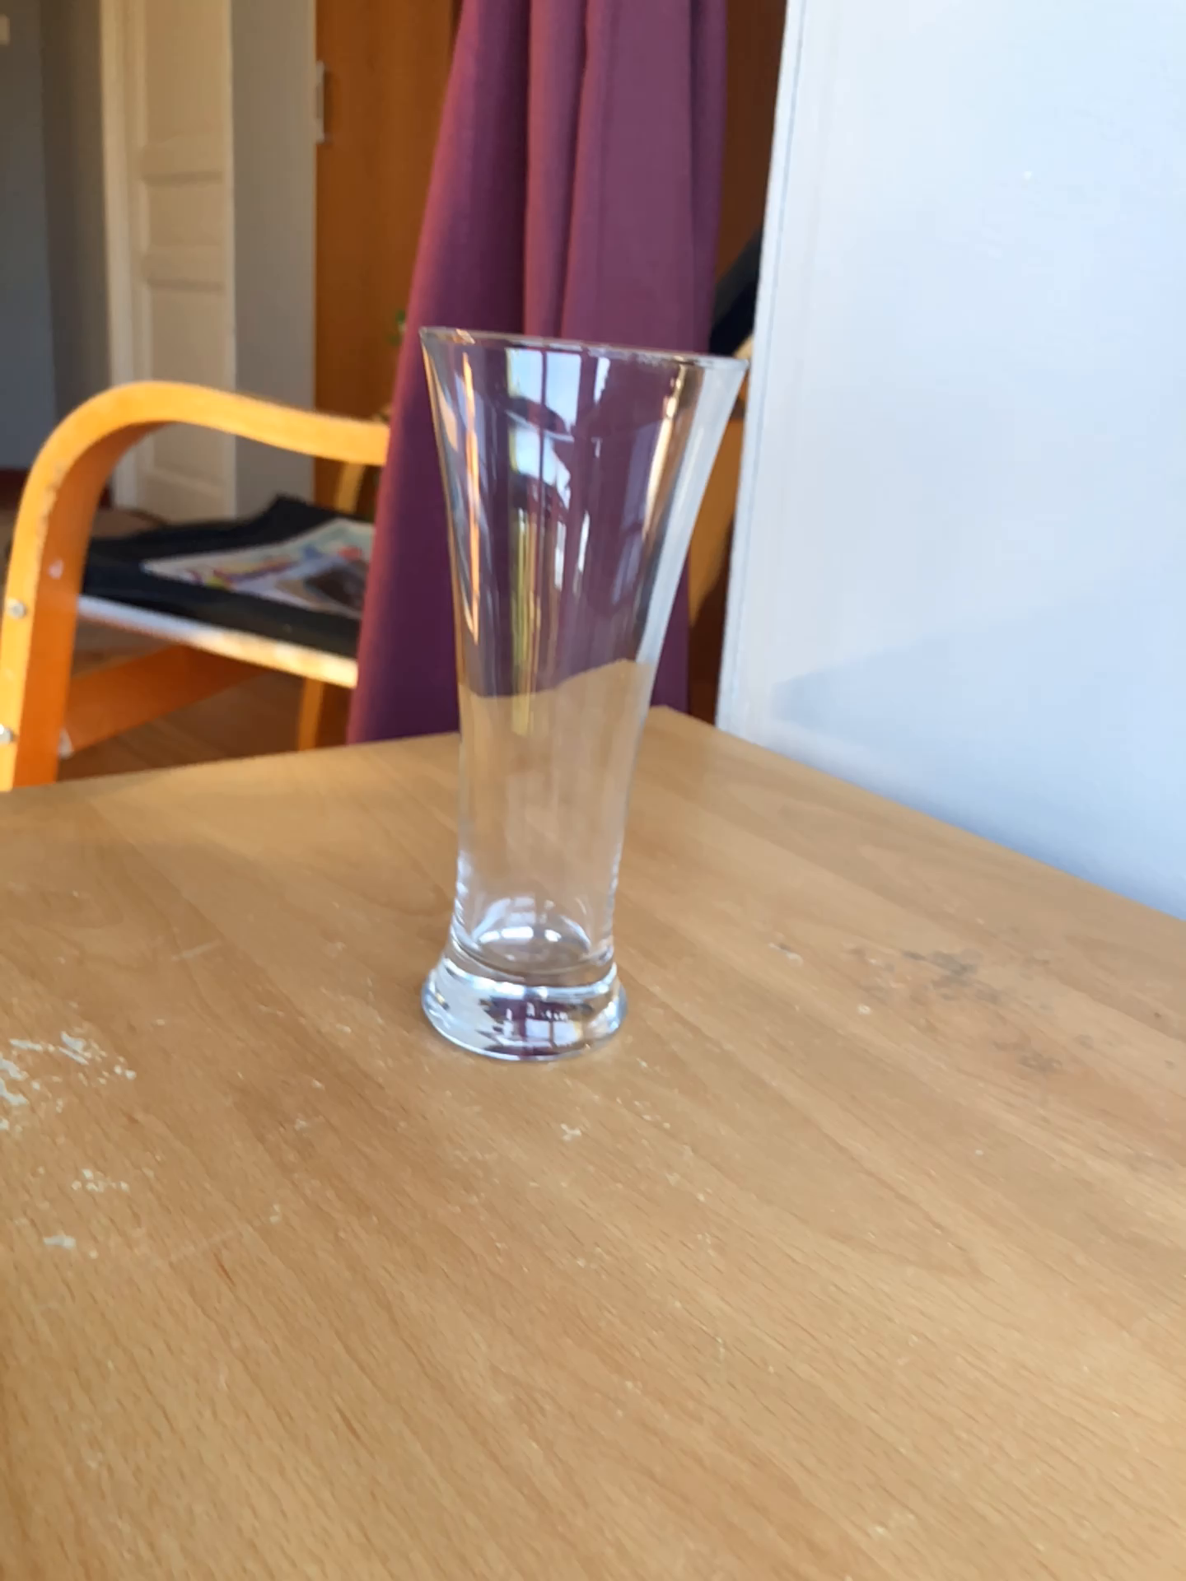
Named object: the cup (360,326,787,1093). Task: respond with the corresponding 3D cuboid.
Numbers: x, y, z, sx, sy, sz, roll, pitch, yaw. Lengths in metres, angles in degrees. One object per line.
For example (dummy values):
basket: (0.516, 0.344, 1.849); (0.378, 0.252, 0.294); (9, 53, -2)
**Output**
cup: (-0.007, -0.022, 0.327); (0.082, 0.168, 0.077); (4, 20, -2)
